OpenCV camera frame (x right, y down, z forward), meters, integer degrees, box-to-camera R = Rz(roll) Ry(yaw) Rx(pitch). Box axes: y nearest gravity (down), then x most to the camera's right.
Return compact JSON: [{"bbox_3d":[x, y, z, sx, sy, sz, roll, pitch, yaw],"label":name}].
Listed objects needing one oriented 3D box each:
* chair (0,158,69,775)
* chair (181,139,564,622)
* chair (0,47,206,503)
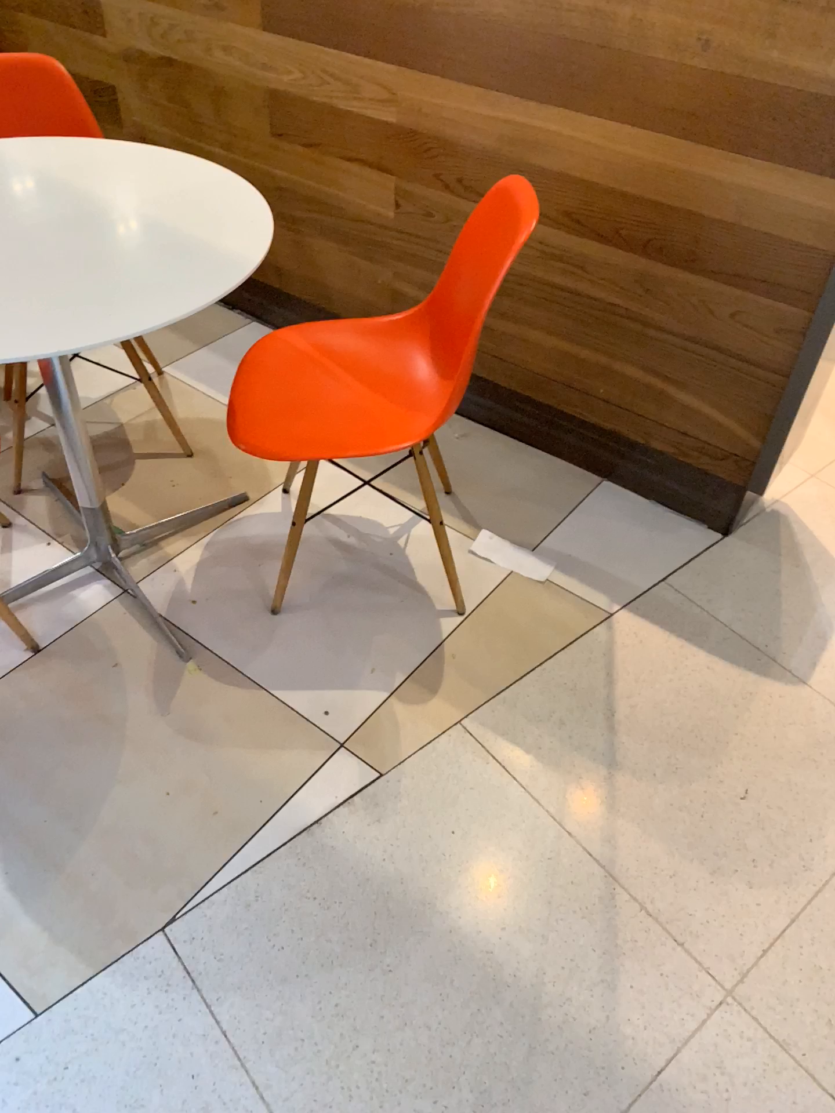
[{"bbox_3d":[-0.963,-0.136,1.371,0.512,0.762,0.451,-19,48,-22],"label":"chair"},{"bbox_3d":[-0.083,-0.298,1.580,0.520,0.742,0.452,0,44,-3],"label":"chair"},{"bbox_3d":[-0.802,-0.615,1.872,0.448,0.742,0.524,-17,47,-20],"label":"chair"}]
